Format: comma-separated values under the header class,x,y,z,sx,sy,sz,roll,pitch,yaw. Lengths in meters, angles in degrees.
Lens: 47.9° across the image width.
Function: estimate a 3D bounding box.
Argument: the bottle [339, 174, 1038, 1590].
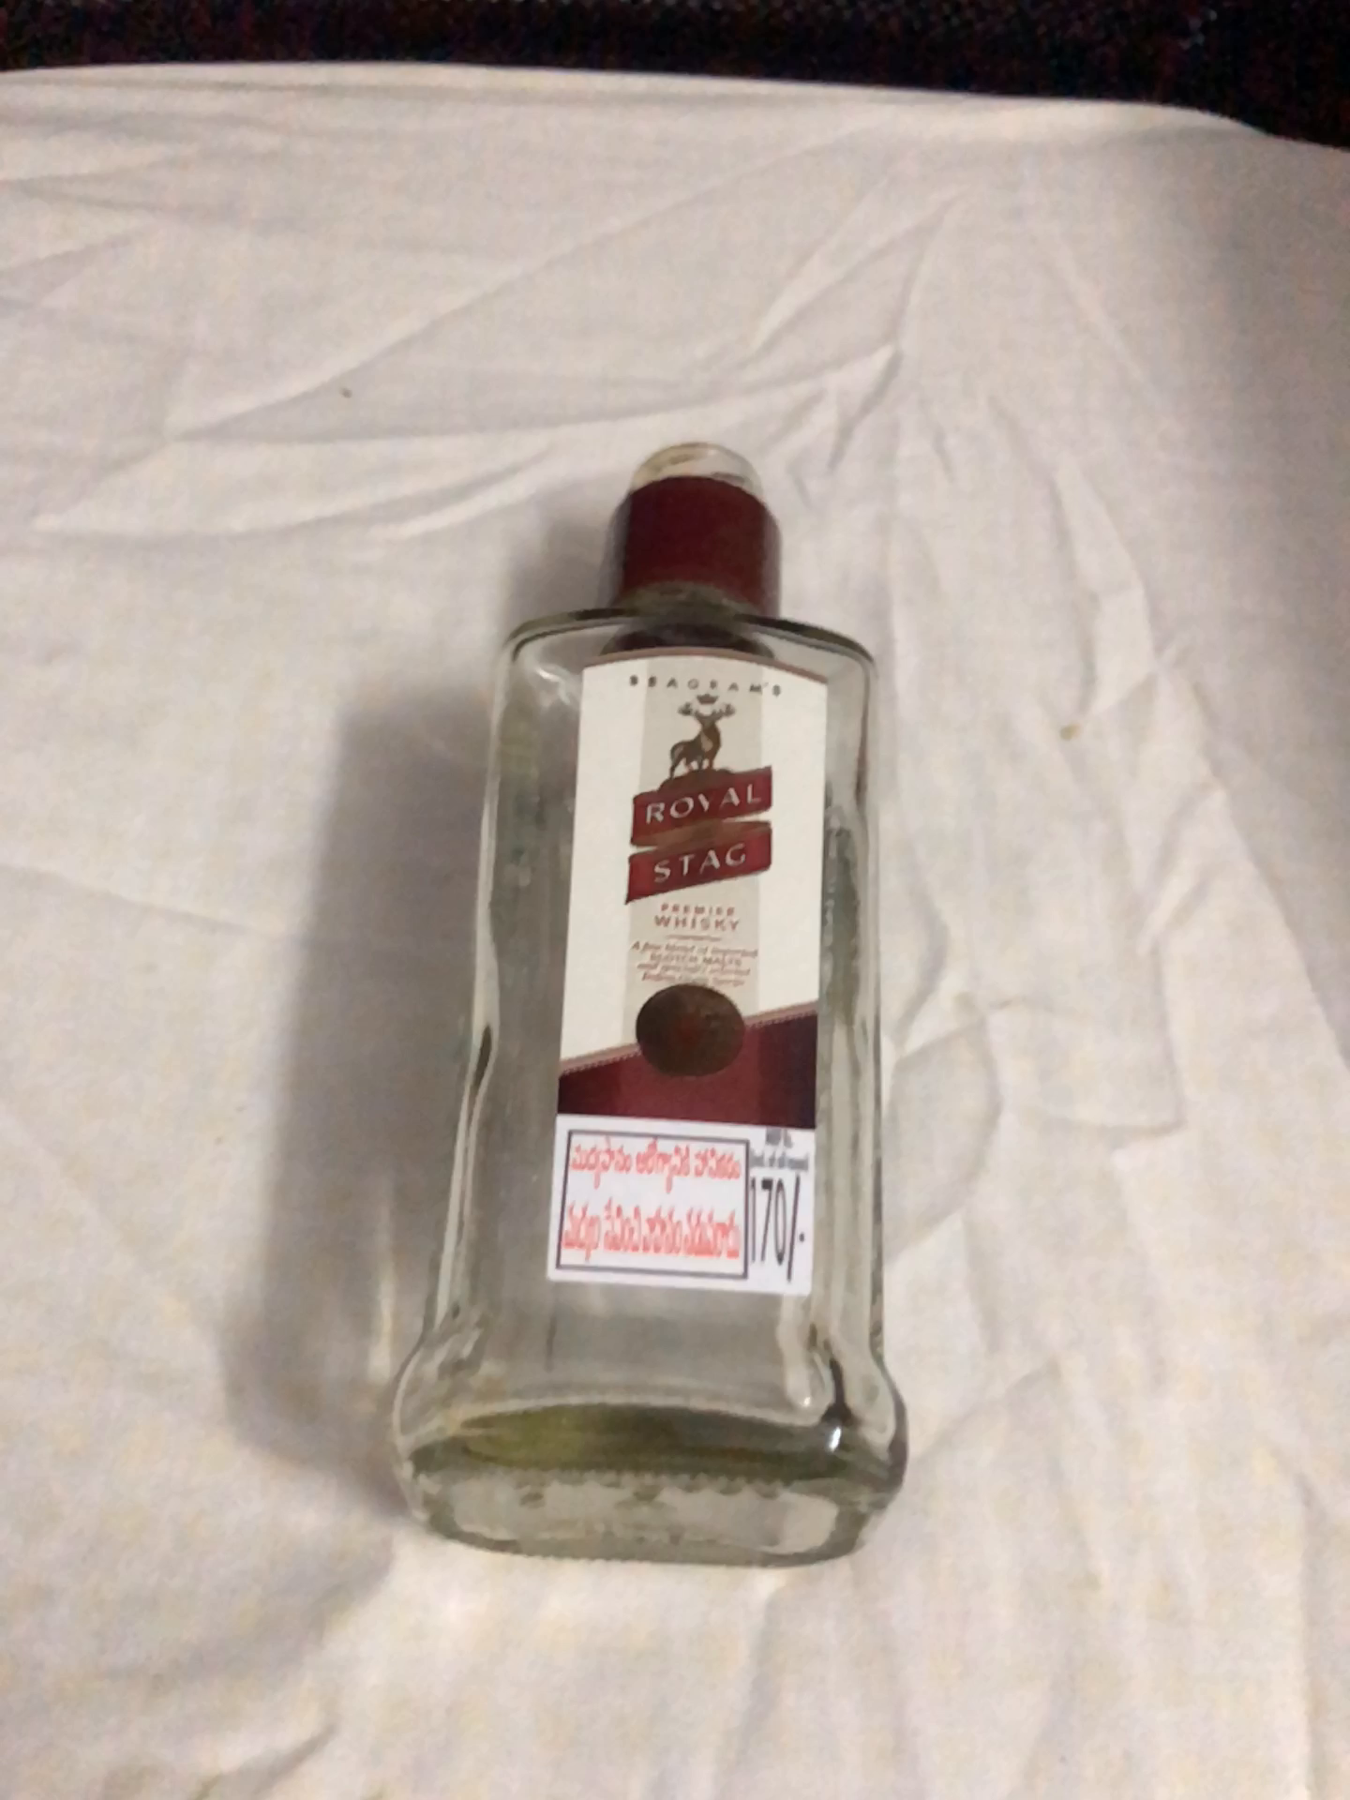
class,x,y,z,sx,sy,sz,roll,pitch,yaw
bottle,0.004,-0.013,0.198,0.060,0.050,0.180,5,59,-2
